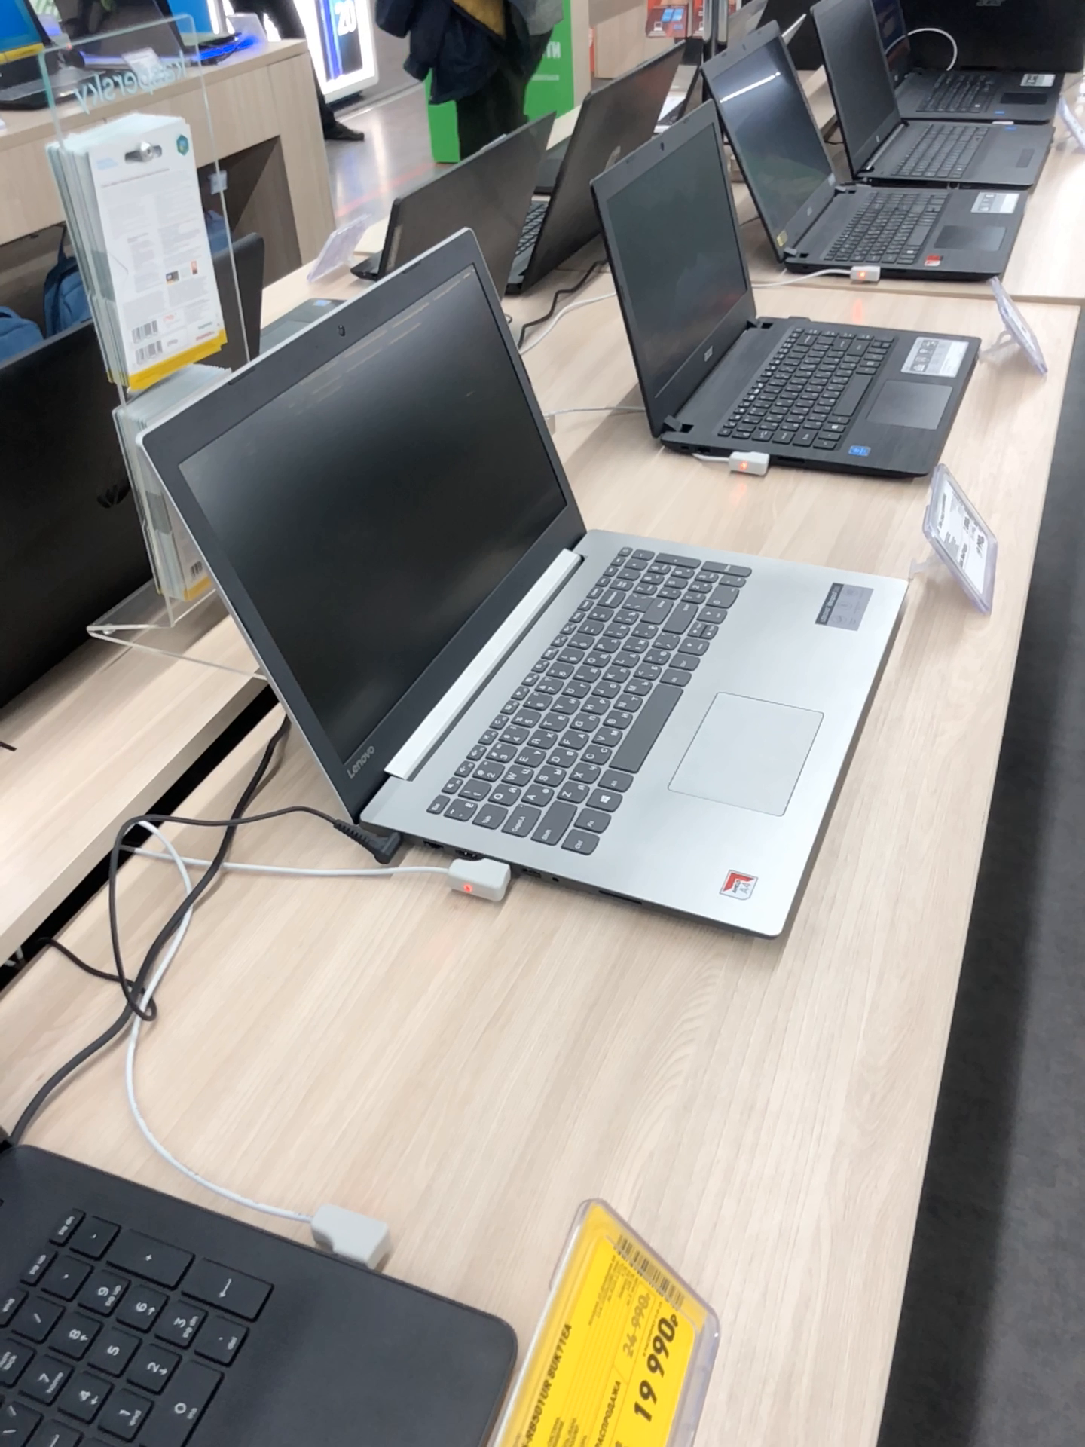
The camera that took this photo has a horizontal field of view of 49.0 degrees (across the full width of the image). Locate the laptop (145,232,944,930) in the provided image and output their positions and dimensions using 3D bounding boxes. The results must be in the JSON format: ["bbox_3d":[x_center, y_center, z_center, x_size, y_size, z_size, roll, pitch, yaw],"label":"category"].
[{"bbox_3d":[0.036,-0.128,0.758,0.343,0.235,0.381,12,39,20],"label":"laptop"}]
